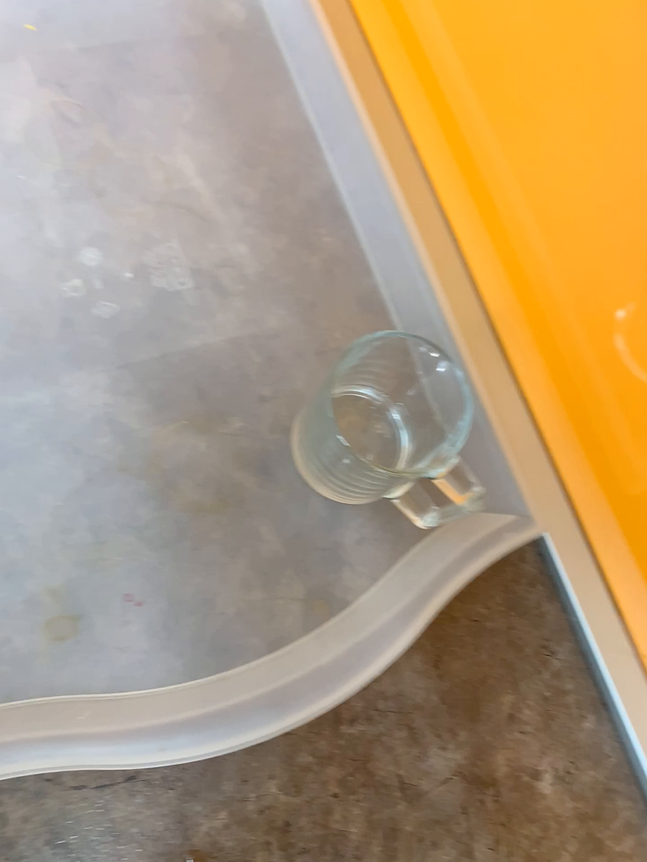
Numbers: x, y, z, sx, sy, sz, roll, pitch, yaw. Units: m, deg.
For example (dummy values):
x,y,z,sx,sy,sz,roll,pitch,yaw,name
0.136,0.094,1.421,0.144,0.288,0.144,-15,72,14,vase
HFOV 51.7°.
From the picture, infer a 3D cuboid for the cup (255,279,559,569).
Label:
x,y,z,sx,sy,sz,roll,pitch,yaw,name
0.037,0.004,0.359,0.081,0.104,0.108,-39,89,-20,cup
